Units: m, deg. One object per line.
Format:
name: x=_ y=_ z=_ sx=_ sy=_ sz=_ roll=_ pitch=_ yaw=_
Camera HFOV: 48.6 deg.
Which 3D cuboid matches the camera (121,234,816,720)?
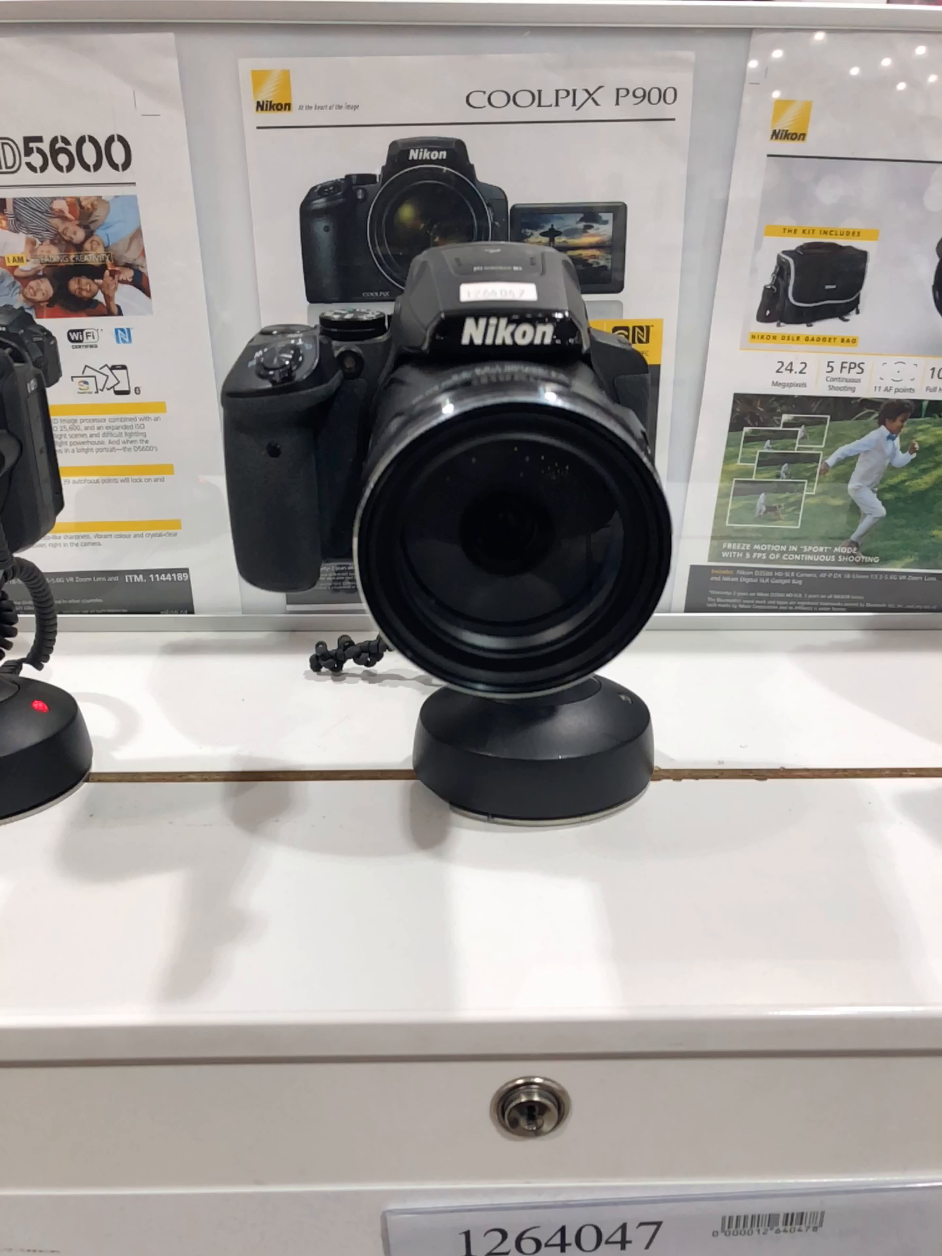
camera: x=-0.004 y=-0.057 z=0.303 sx=0.140 sy=0.100 sz=0.161 roll=-1 pitch=23 yaw=-3
